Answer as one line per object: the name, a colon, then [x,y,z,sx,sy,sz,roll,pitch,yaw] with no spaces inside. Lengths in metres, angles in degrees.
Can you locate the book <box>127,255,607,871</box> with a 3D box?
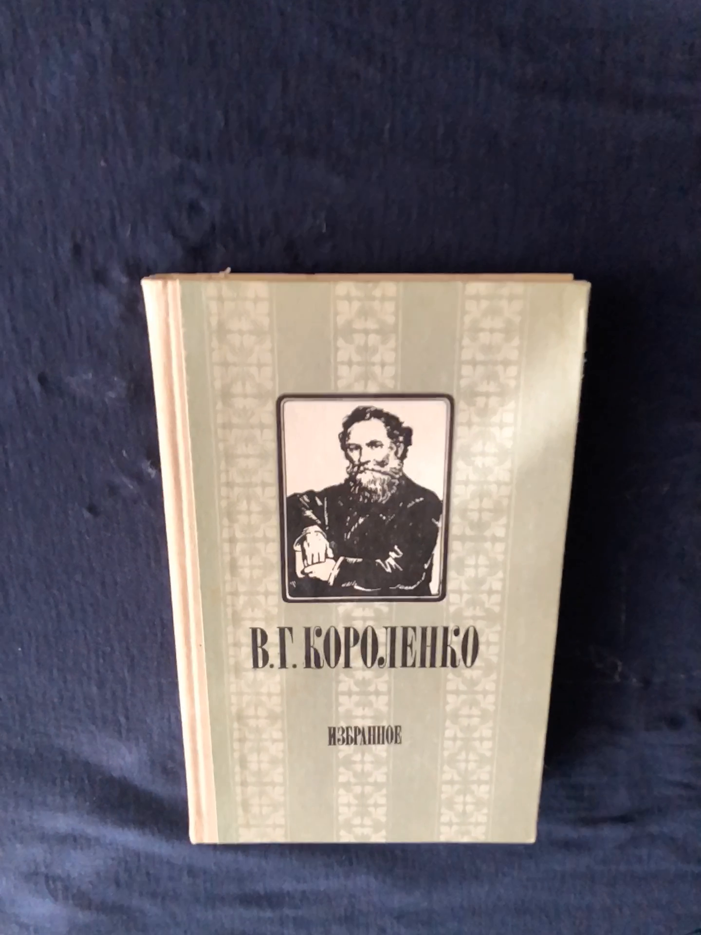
book: [0.004,0.038,0.260,0.132,0.030,0.210,-1,108,-3]
